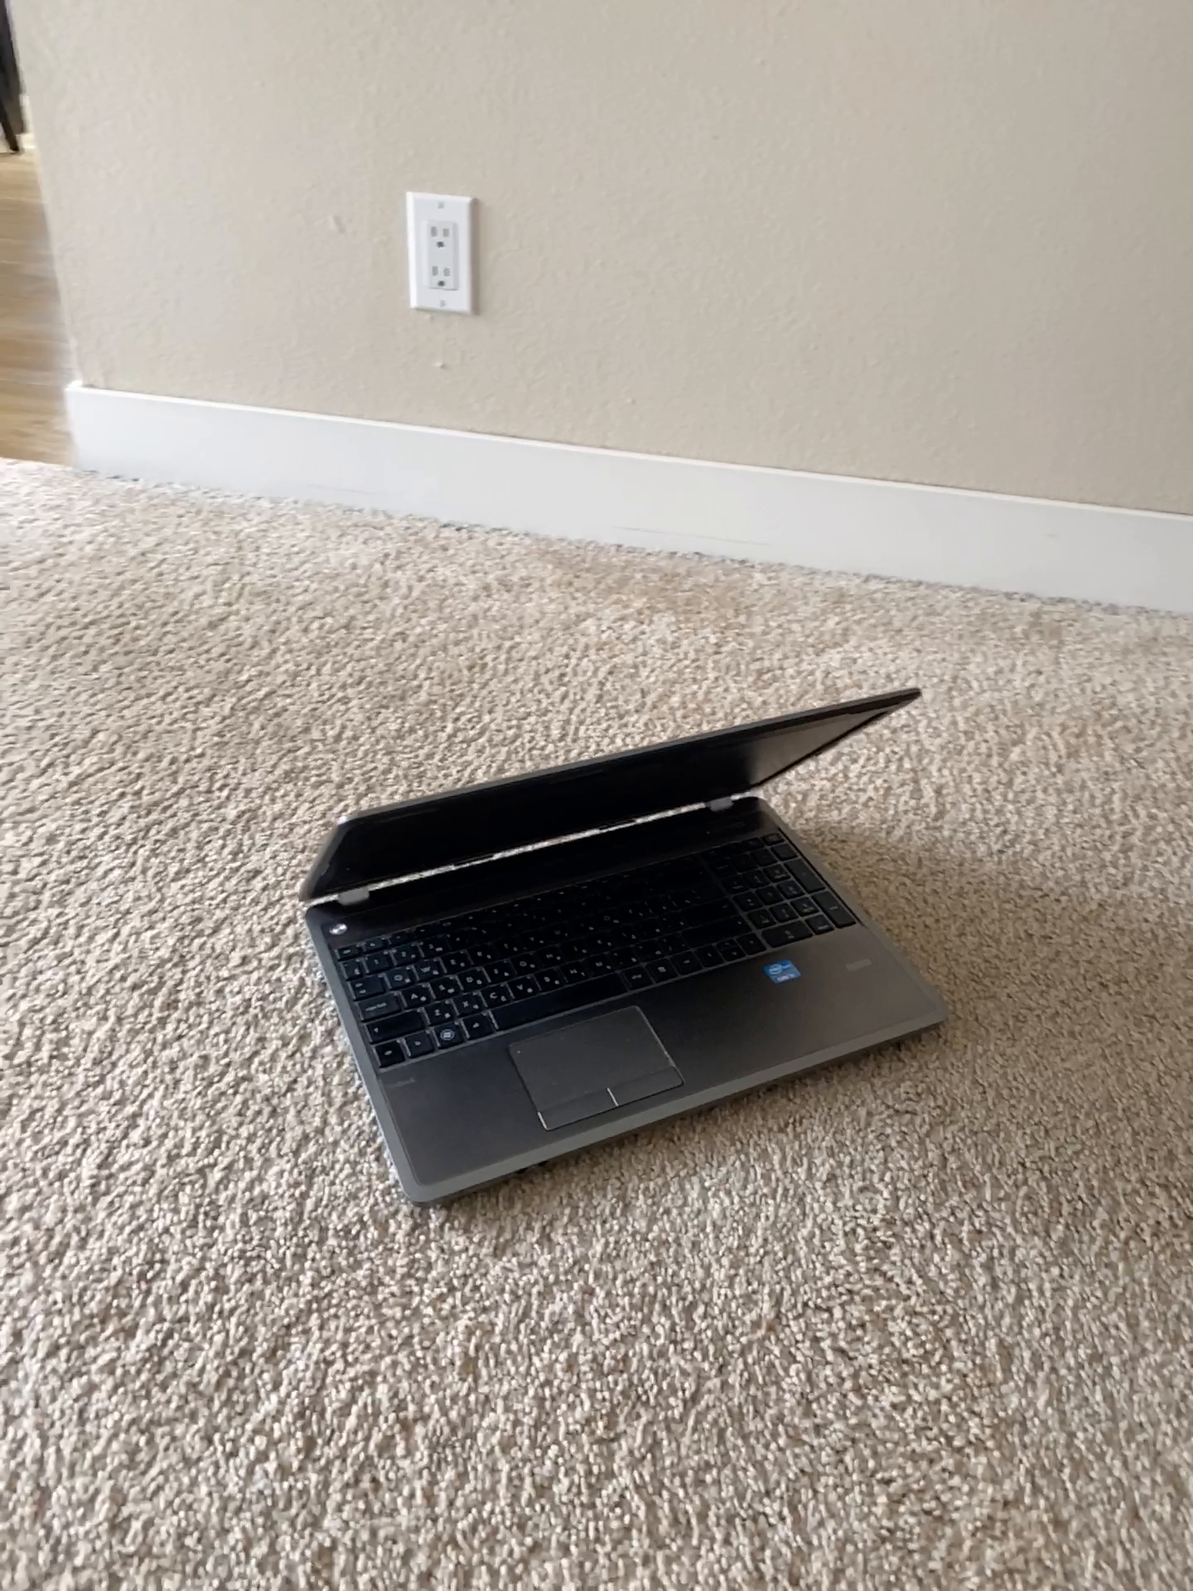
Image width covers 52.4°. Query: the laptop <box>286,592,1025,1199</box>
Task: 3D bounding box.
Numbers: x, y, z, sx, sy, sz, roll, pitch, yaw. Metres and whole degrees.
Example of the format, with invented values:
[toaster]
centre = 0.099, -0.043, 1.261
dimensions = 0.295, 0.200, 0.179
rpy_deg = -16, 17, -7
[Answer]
[laptop]
centre = 0.023, 0.037, 0.775
dimensions = 0.368, 0.186, 0.255
rpy_deg = -13, 40, -22
